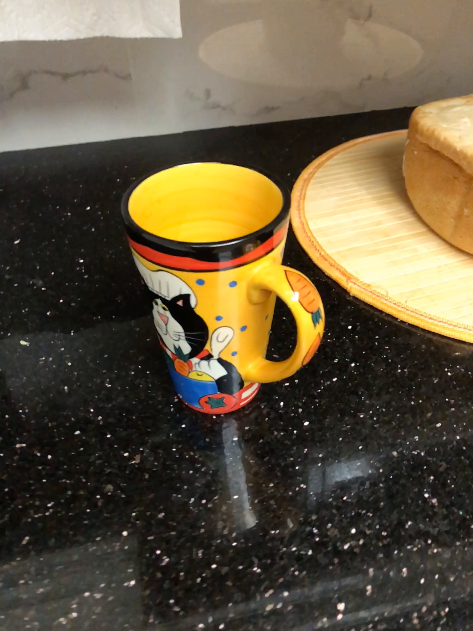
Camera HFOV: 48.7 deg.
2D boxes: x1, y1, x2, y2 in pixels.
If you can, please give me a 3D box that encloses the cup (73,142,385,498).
[{"bbox_3d":[-0.006,-0.001,0.306,0.090,0.139,0.130,-34,51,-30],"label":"cup"}]
